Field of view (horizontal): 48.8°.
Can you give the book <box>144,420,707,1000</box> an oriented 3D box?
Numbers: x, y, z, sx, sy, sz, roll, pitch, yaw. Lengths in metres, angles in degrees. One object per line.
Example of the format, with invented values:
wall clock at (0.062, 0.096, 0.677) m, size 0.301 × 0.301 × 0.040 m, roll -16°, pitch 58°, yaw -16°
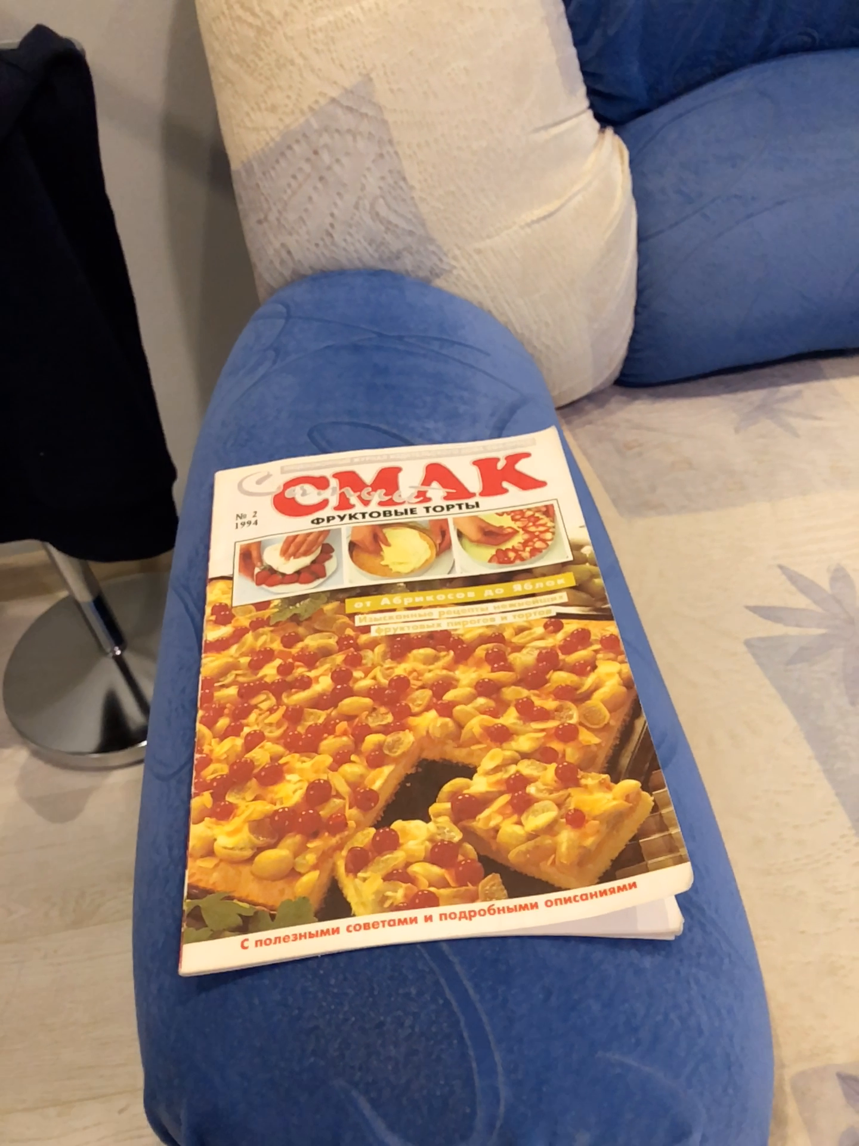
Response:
book at (-0.012, 0.030, 0.369) m, size 0.171 × 0.010 × 0.237 m, roll -7°, pitch 48°, yaw 0°
